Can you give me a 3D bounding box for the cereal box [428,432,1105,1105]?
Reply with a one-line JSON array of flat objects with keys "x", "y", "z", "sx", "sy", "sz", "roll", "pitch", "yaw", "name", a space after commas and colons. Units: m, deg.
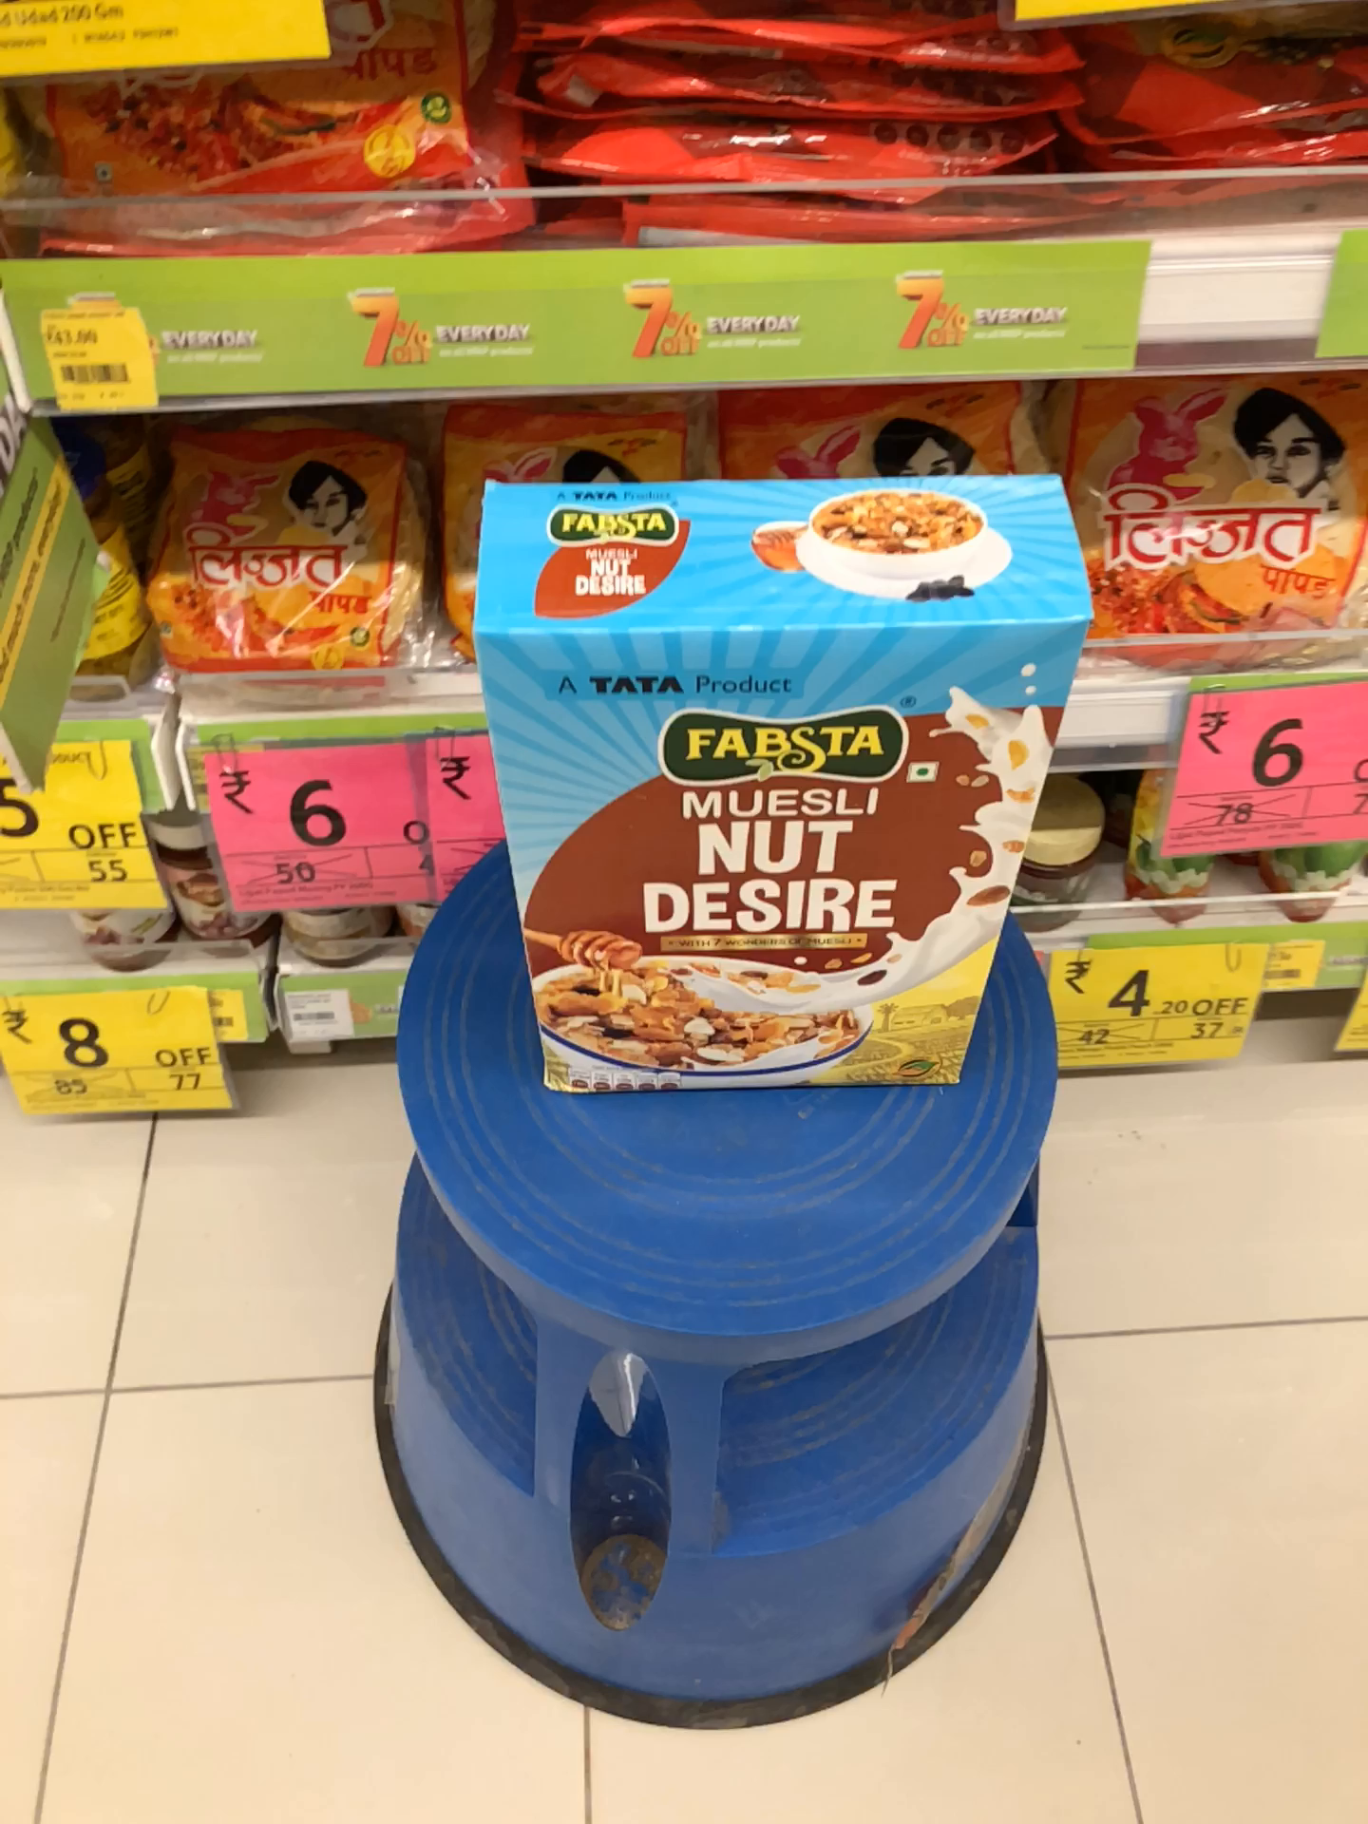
[{"x": 0.021, "y": -0.030, "z": 0.499, "sx": 0.170, "sy": 0.249, "sz": 0.070, "roll": -2, "pitch": 54, "yaw": -1, "name": "cereal box"}]
